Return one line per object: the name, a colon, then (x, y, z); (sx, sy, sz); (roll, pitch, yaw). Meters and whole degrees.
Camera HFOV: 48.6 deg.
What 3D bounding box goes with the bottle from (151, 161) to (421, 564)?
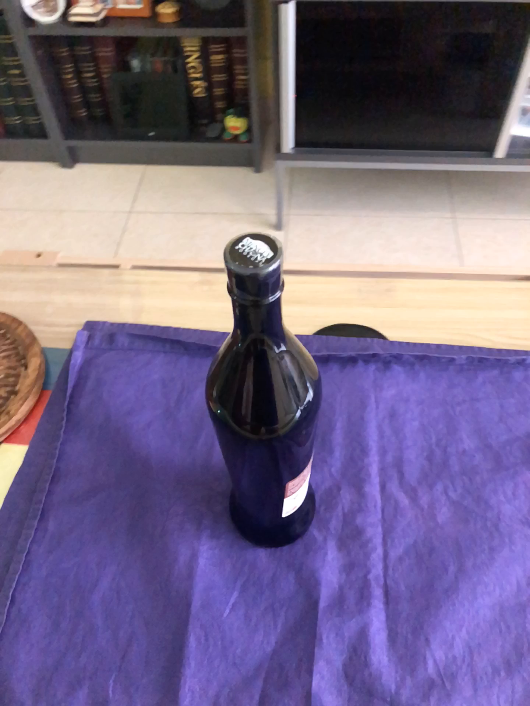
bottle: (0.019, 0.030, 0.398); (0.100, 0.279, 0.100); (-1, 52, 2)
